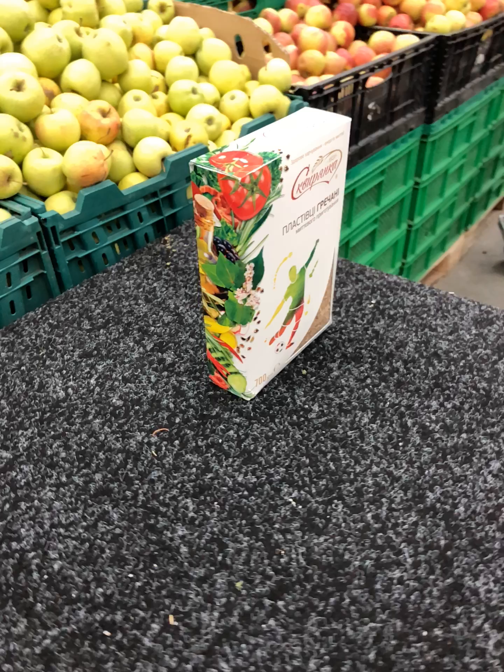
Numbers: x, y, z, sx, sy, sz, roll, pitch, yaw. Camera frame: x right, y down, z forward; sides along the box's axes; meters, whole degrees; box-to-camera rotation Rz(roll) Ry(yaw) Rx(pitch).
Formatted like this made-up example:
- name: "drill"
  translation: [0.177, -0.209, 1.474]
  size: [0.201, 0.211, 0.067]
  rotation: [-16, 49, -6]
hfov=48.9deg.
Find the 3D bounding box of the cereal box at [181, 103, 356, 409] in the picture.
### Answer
- name: "cereal box"
  translation: [0.021, -0.074, 0.532]
  size: [0.060, 0.238, 0.161]
  rotation: [26, 46, 29]
